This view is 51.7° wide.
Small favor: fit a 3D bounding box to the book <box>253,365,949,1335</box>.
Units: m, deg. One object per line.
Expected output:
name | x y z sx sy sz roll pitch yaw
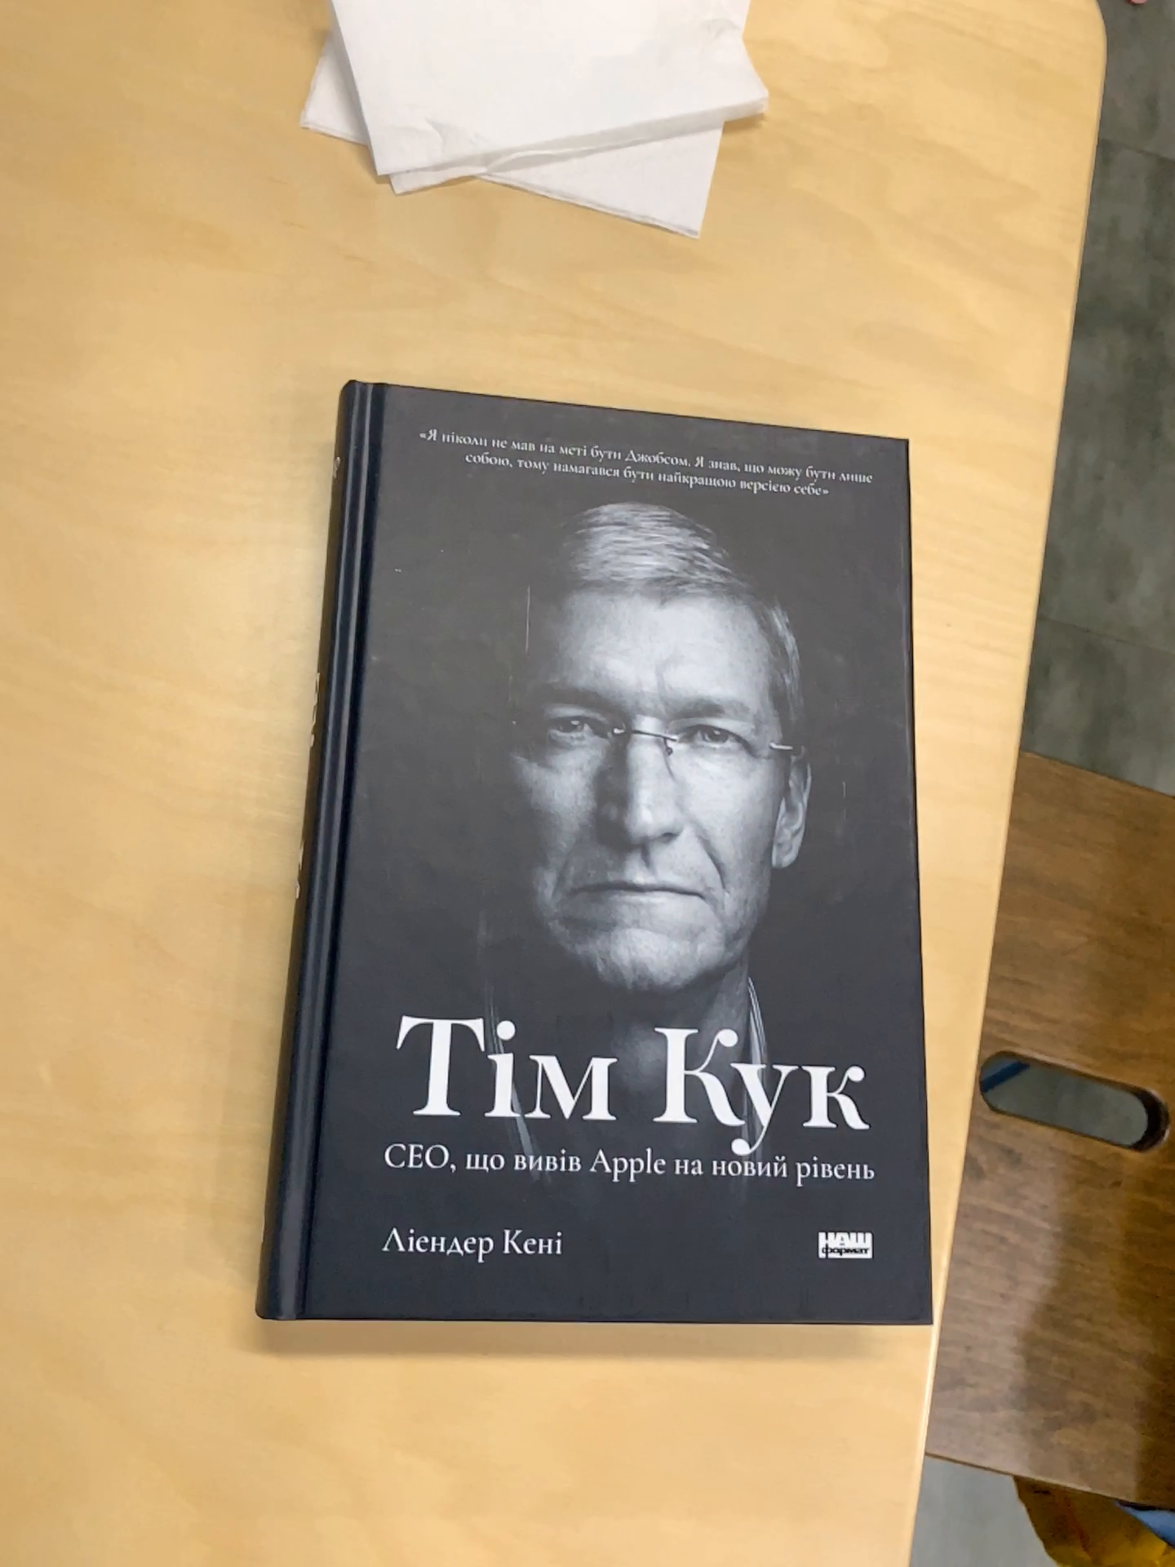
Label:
book | 0.007 0.012 0.293 0.144 0.034 0.217 4 75 -7
